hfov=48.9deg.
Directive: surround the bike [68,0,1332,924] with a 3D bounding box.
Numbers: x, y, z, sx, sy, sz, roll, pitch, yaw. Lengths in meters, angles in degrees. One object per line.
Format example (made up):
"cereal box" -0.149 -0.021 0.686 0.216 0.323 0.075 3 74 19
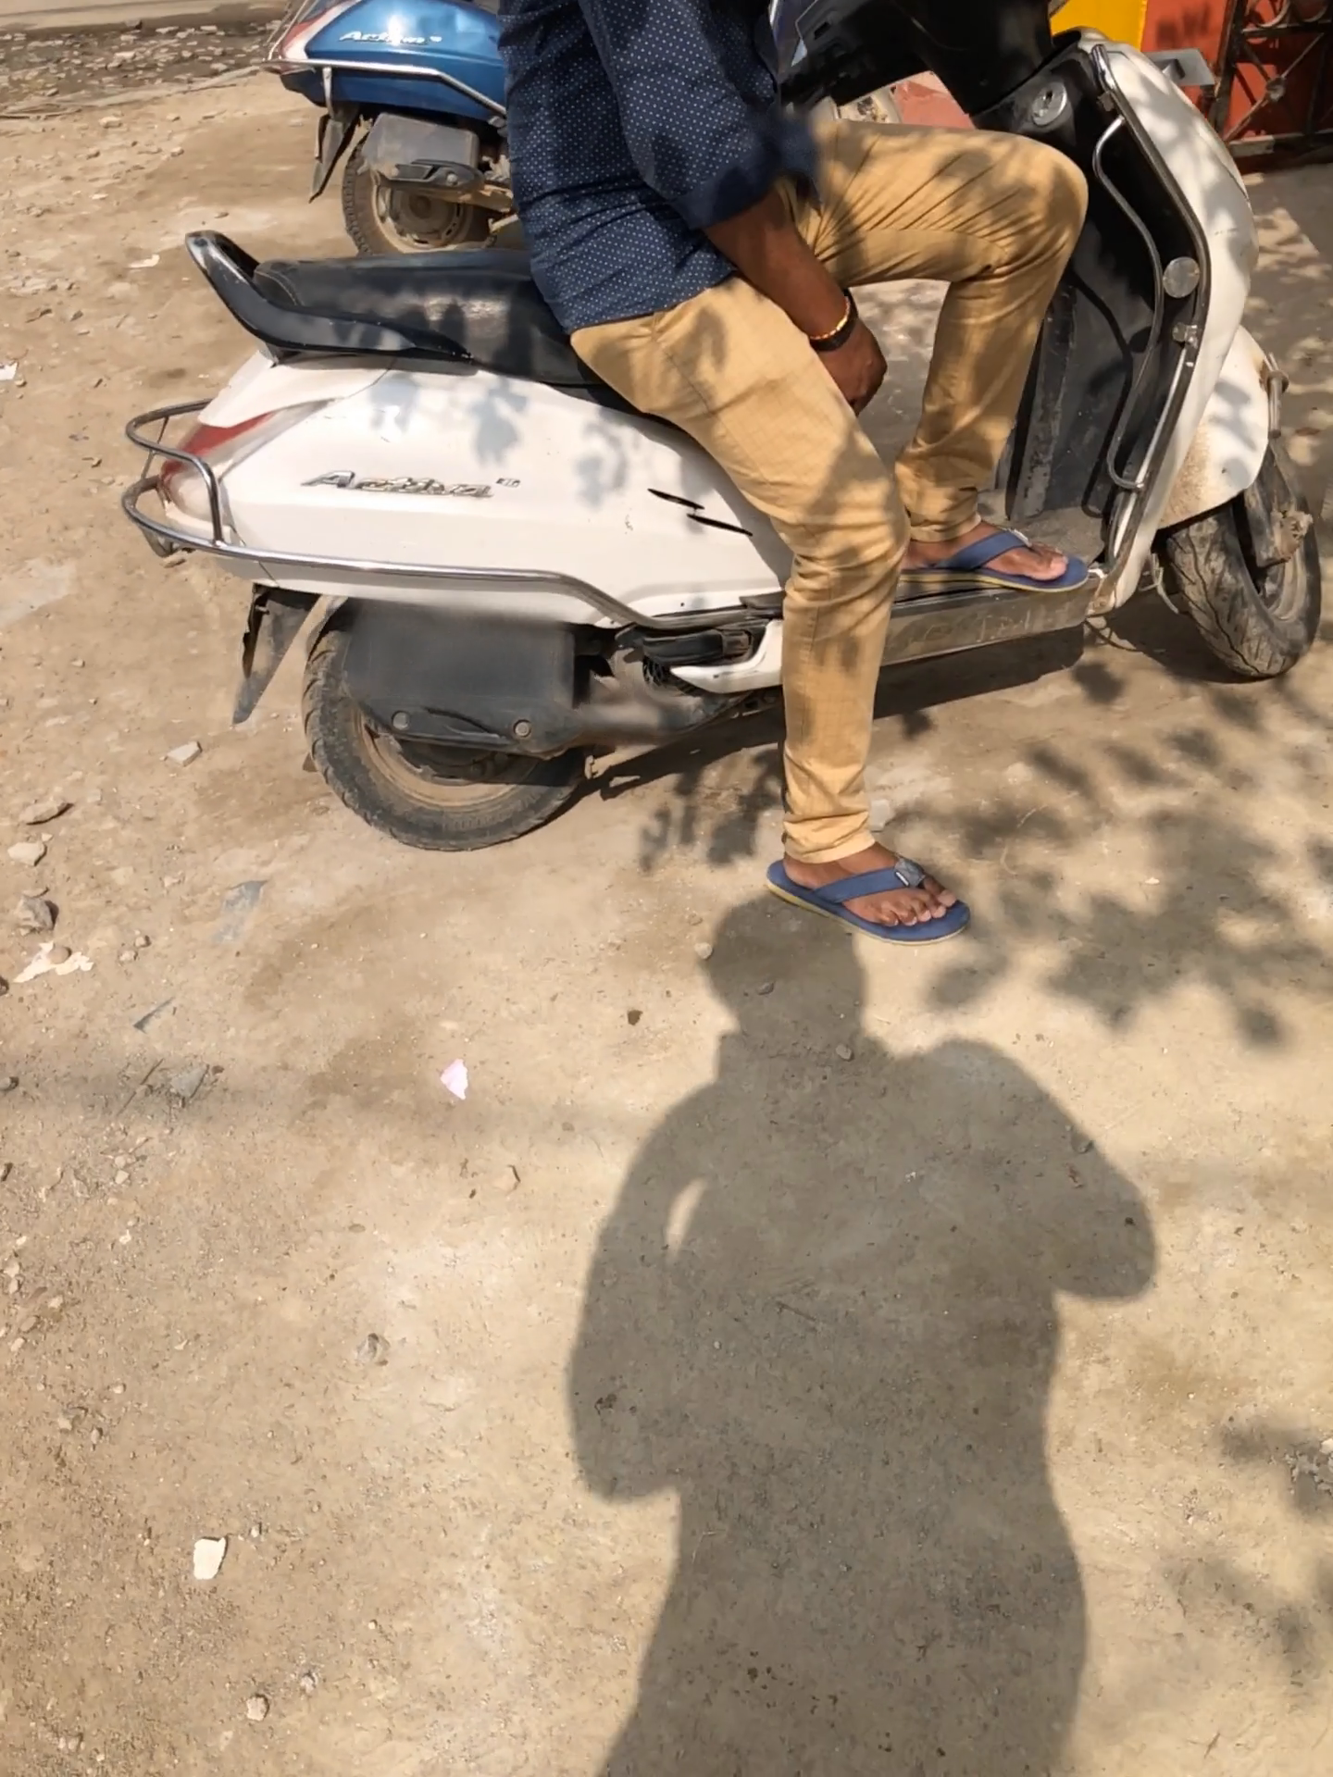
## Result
"bike" 0.183 -0.791 2.087 1.595 1.187 0.624 -14 43 -11
